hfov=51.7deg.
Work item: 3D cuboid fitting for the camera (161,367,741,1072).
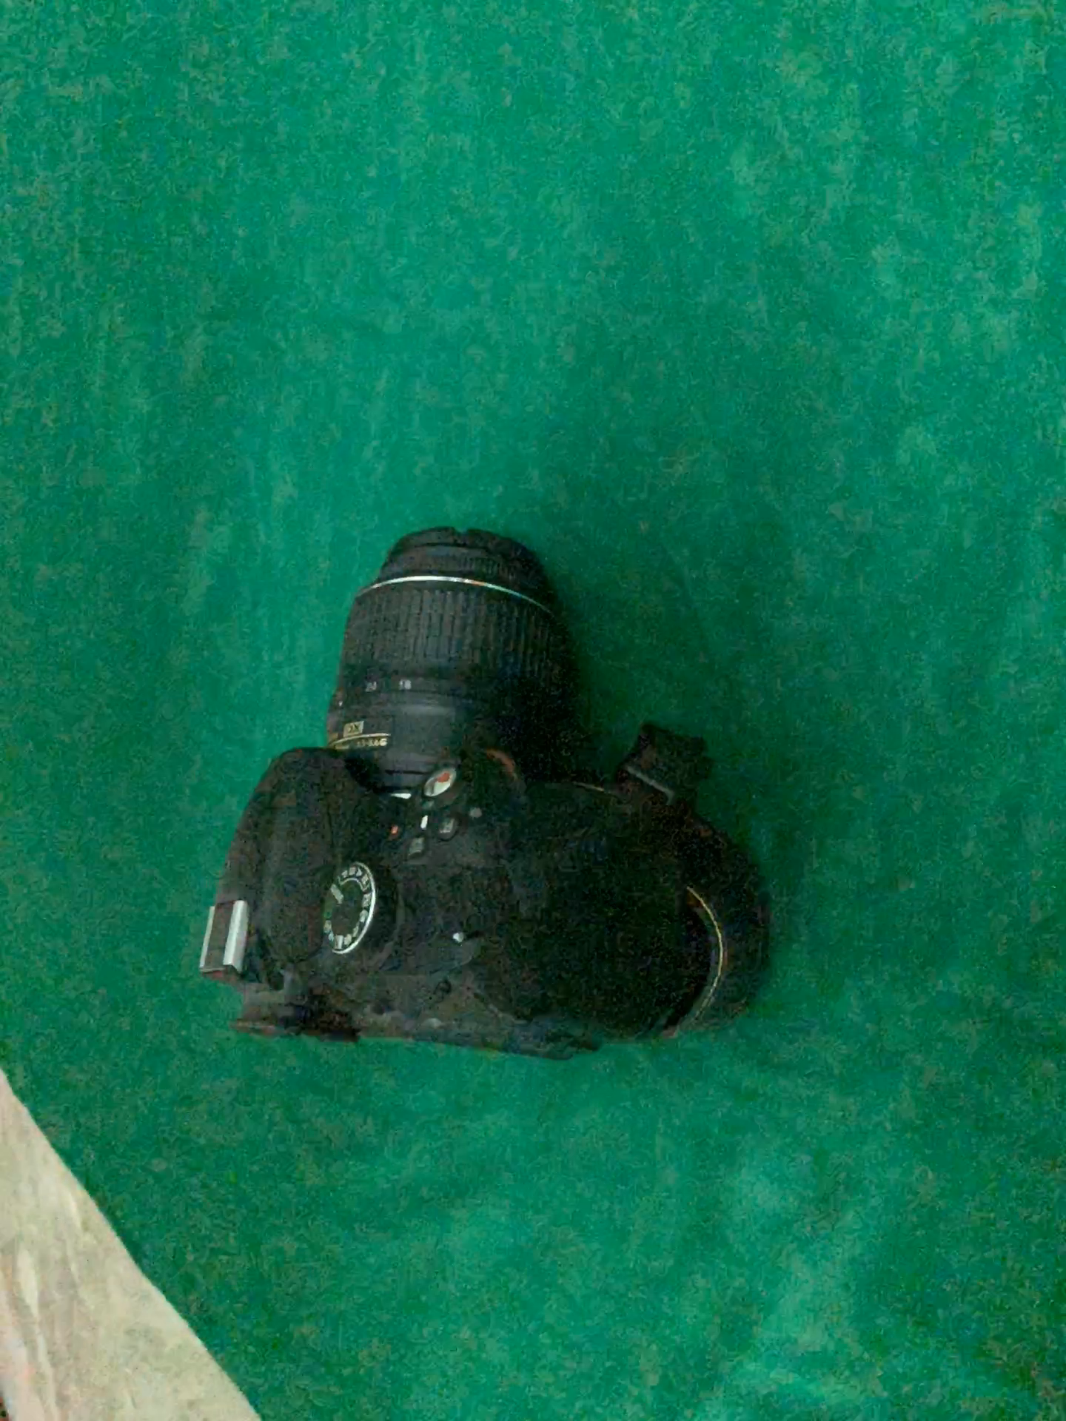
[{"bbox_3d":[-0.026,0.019,0.329,0.134,0.100,0.166,-19,63,47],"label":"camera"}]
